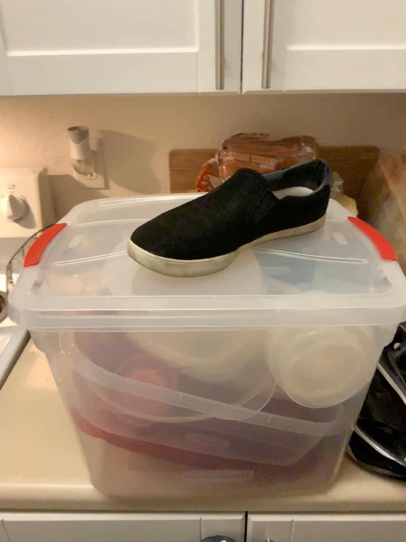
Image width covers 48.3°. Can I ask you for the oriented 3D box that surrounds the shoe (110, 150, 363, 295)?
[{"bbox_3d":[0.046,-0.068,0.497,0.270,0.070,0.100,-21,34,-32],"label":"shoe"}]
